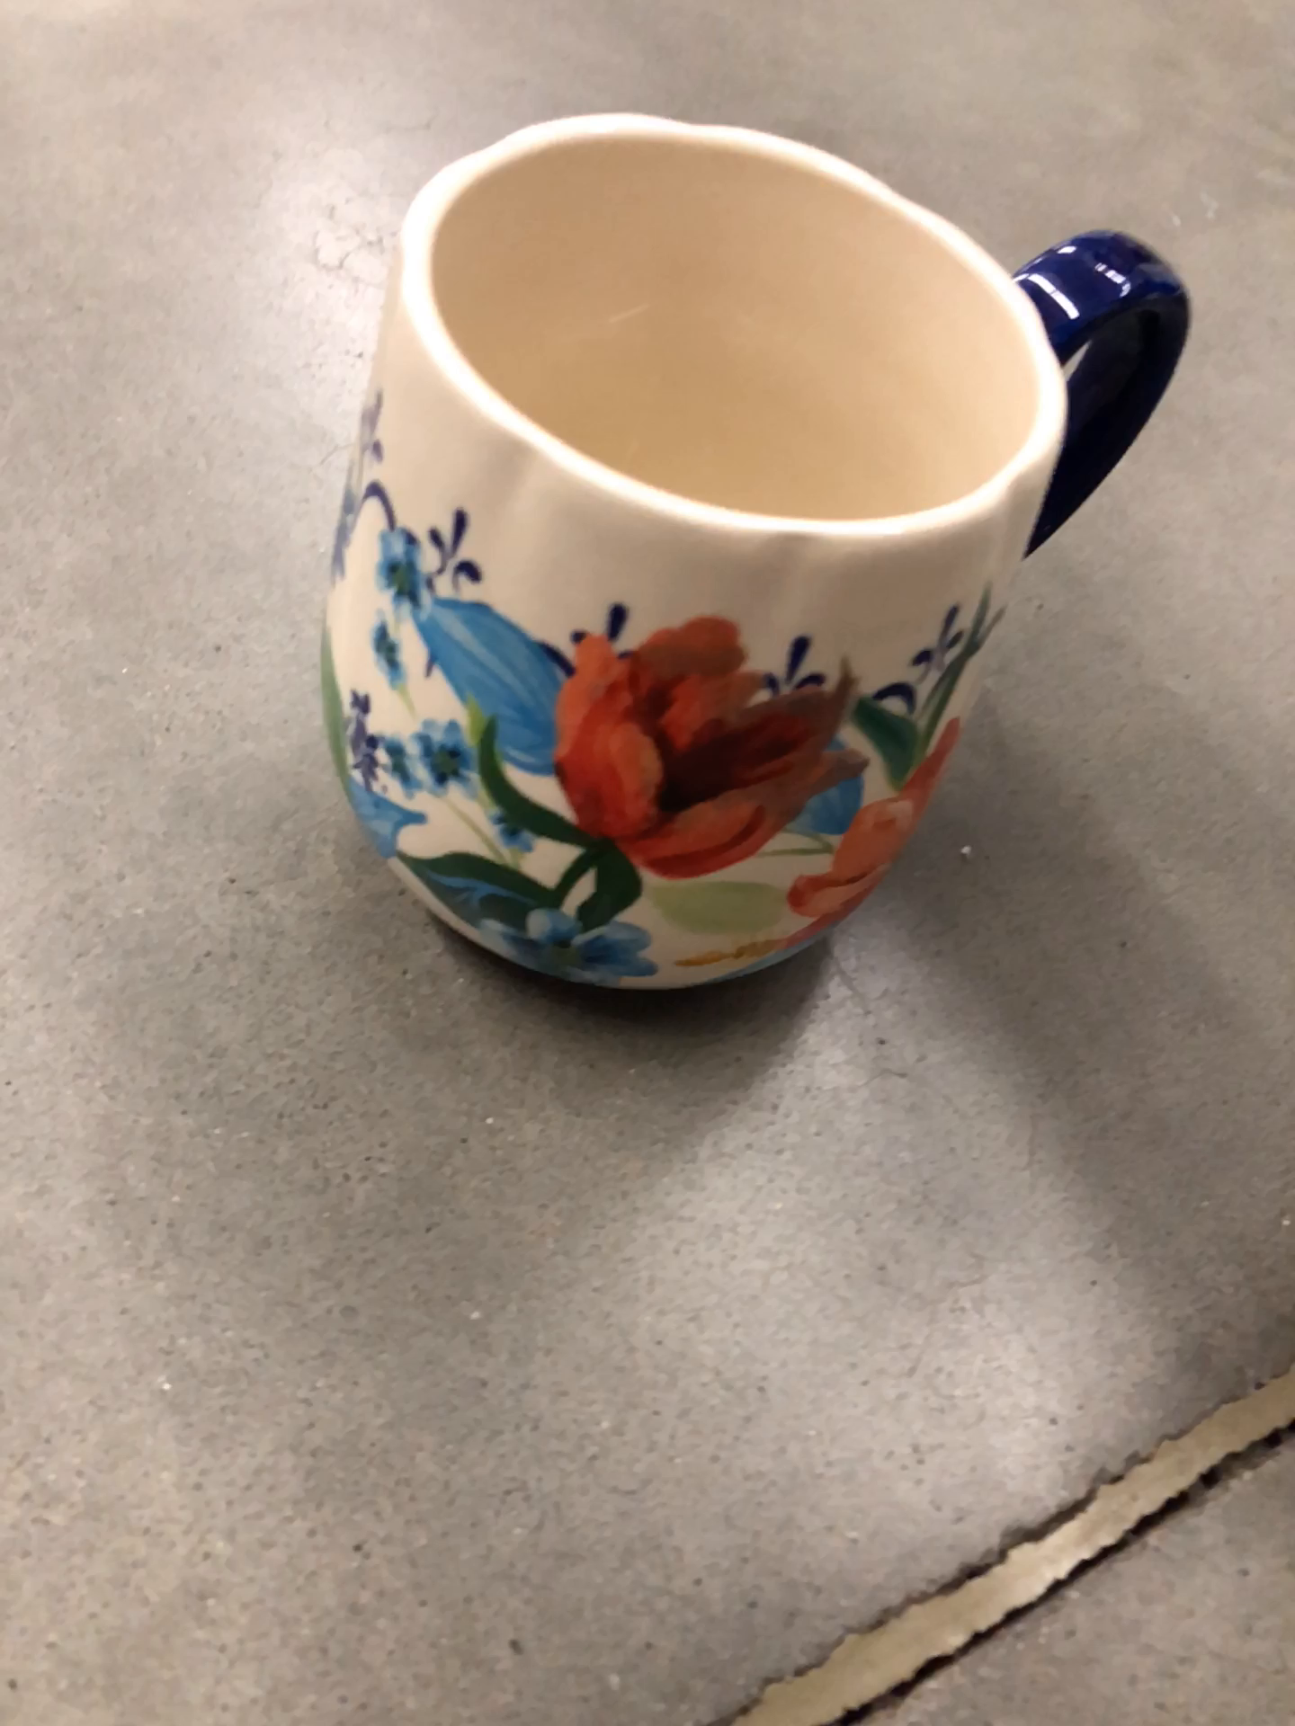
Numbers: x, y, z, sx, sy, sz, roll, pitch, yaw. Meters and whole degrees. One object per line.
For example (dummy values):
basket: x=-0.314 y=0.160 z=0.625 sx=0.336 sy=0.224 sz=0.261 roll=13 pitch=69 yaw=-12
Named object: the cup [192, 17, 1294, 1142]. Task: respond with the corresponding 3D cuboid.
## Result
cup: x=0.020 y=-0.048 z=0.225 sx=0.140 sy=0.100 sz=0.100 roll=-23 pitch=64 yaw=-26
